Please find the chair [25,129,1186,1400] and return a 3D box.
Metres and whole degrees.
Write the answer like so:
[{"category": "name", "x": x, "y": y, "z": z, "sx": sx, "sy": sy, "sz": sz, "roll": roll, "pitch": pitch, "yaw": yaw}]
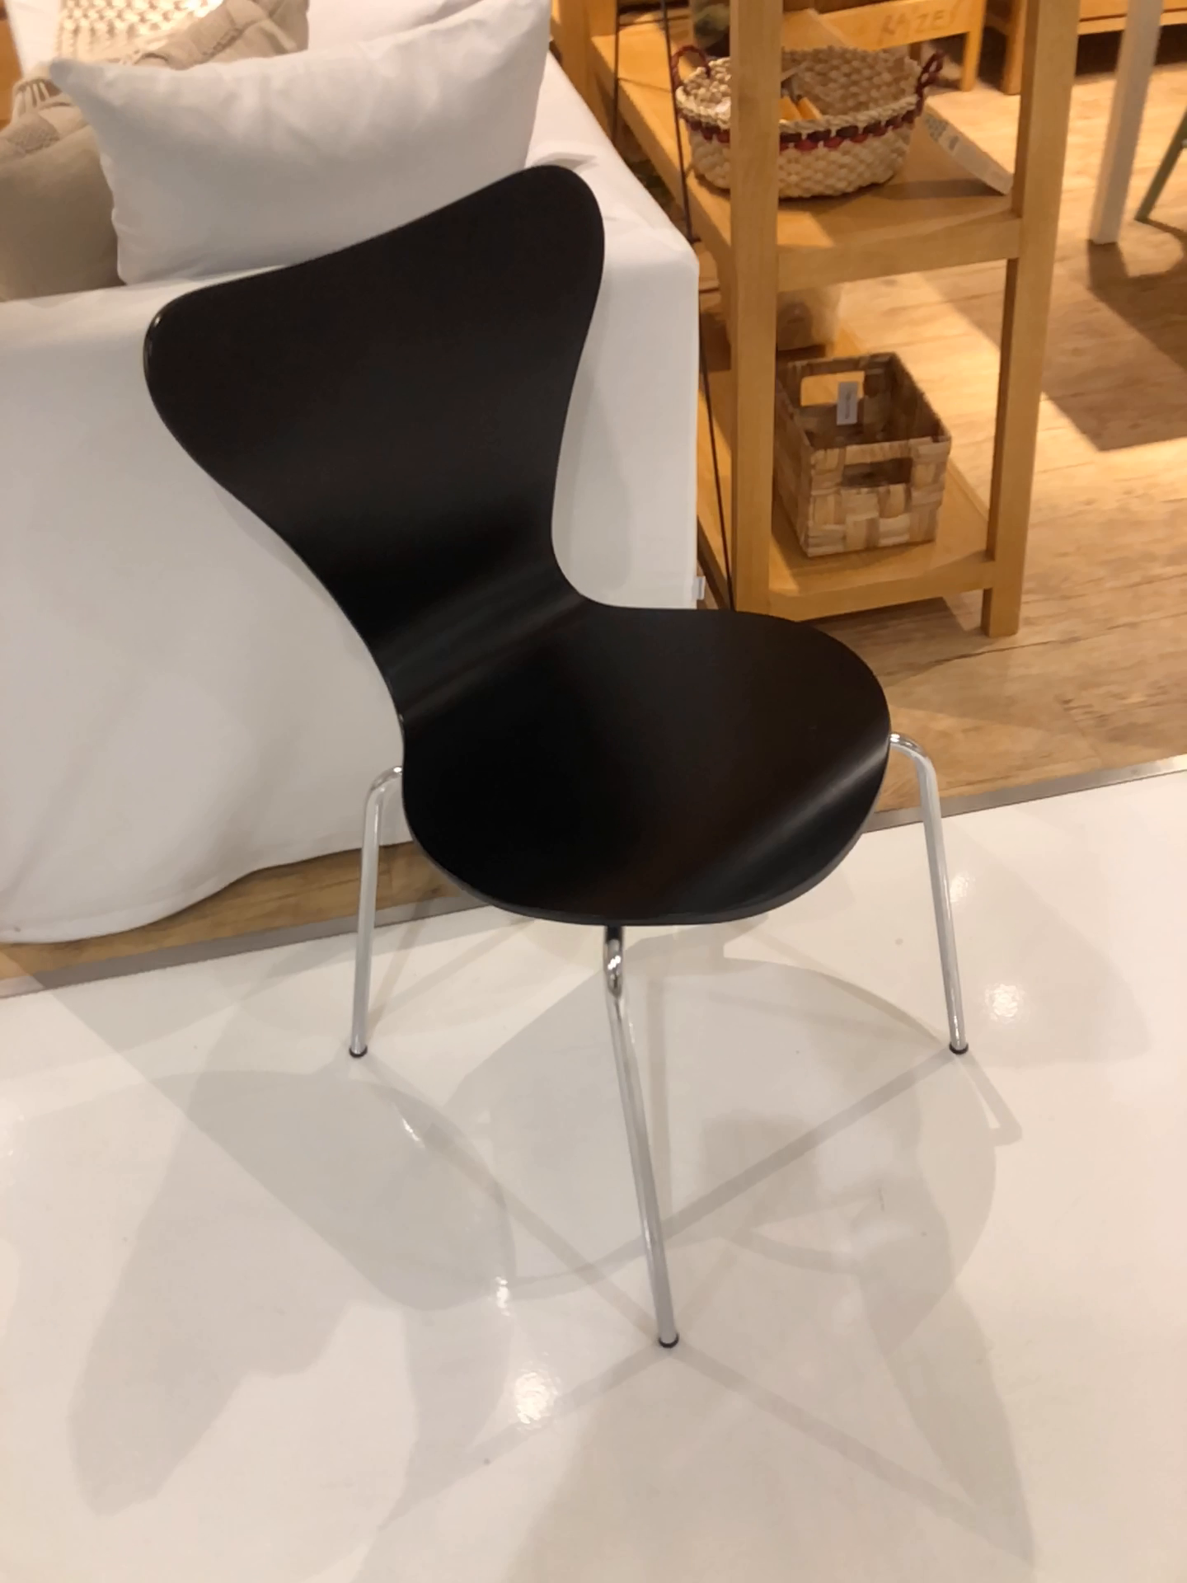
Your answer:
[{"category": "chair", "x": 0.022, "y": -0.032, "z": 1.126, "sx": 0.542, "sy": 0.774, "sz": 0.552, "roll": -35, "pitch": 51, "yaw": -28}]
